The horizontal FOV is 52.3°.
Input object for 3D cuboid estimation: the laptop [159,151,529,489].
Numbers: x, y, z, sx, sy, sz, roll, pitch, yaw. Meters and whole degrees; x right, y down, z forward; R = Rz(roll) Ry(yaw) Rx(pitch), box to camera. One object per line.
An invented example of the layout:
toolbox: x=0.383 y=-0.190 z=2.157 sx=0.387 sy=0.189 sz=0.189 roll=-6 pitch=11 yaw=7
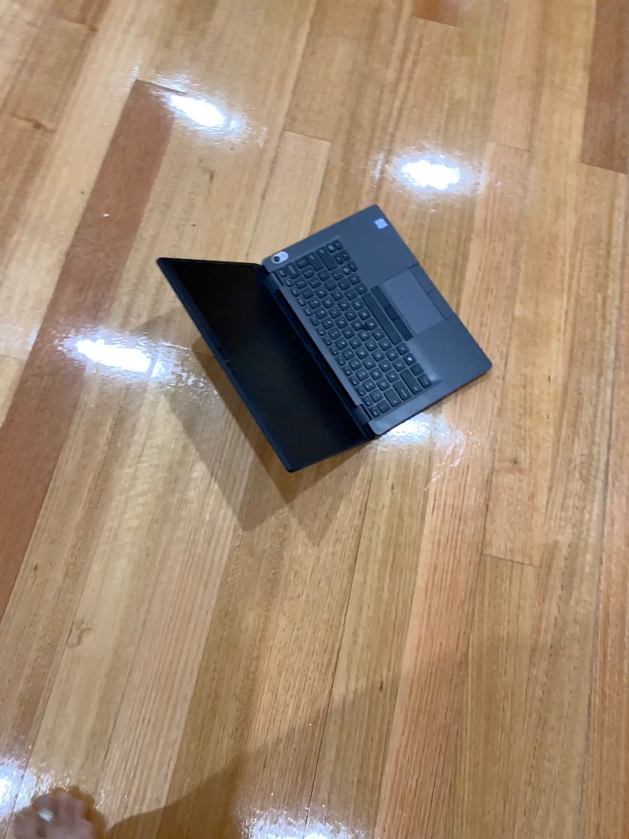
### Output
laptop: x=0.035 y=-0.144 z=0.901 sx=0.372 sy=0.134 sz=0.320 roll=-30 pitch=78 yaw=-15
